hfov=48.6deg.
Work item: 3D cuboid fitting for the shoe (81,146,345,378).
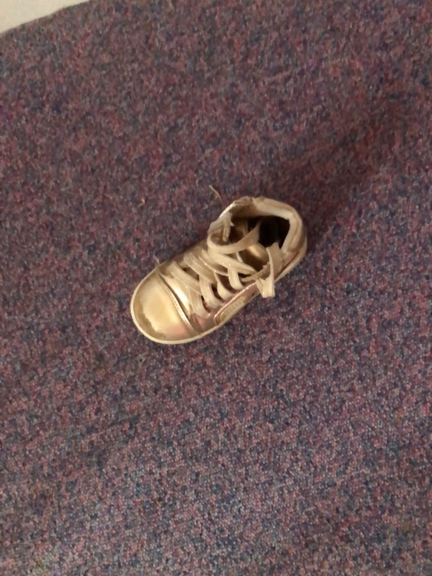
[{"bbox_3d":[0.000,-0.014,0.345,0.150,0.080,0.080,-33,84,2],"label":"shoe"}]
